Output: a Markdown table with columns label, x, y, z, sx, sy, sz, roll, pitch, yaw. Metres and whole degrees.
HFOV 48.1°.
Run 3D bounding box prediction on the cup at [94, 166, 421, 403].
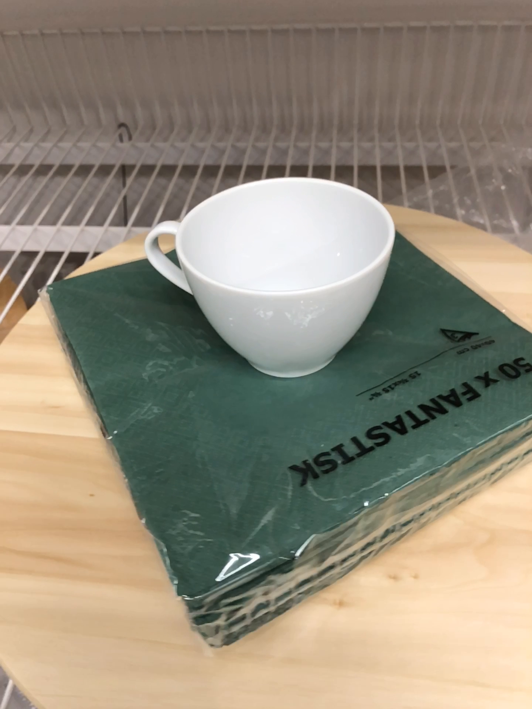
| label | x | y | z | sx | sy | sz | roll | pitch | yaw |
| --- | --- | --- | --- | --- | --- | --- | --- | --- | --- |
| cup | 0.002 | -0.038 | 0.275 | 0.120 | 0.050 | 0.090 | 10 | 46 | 14 |
